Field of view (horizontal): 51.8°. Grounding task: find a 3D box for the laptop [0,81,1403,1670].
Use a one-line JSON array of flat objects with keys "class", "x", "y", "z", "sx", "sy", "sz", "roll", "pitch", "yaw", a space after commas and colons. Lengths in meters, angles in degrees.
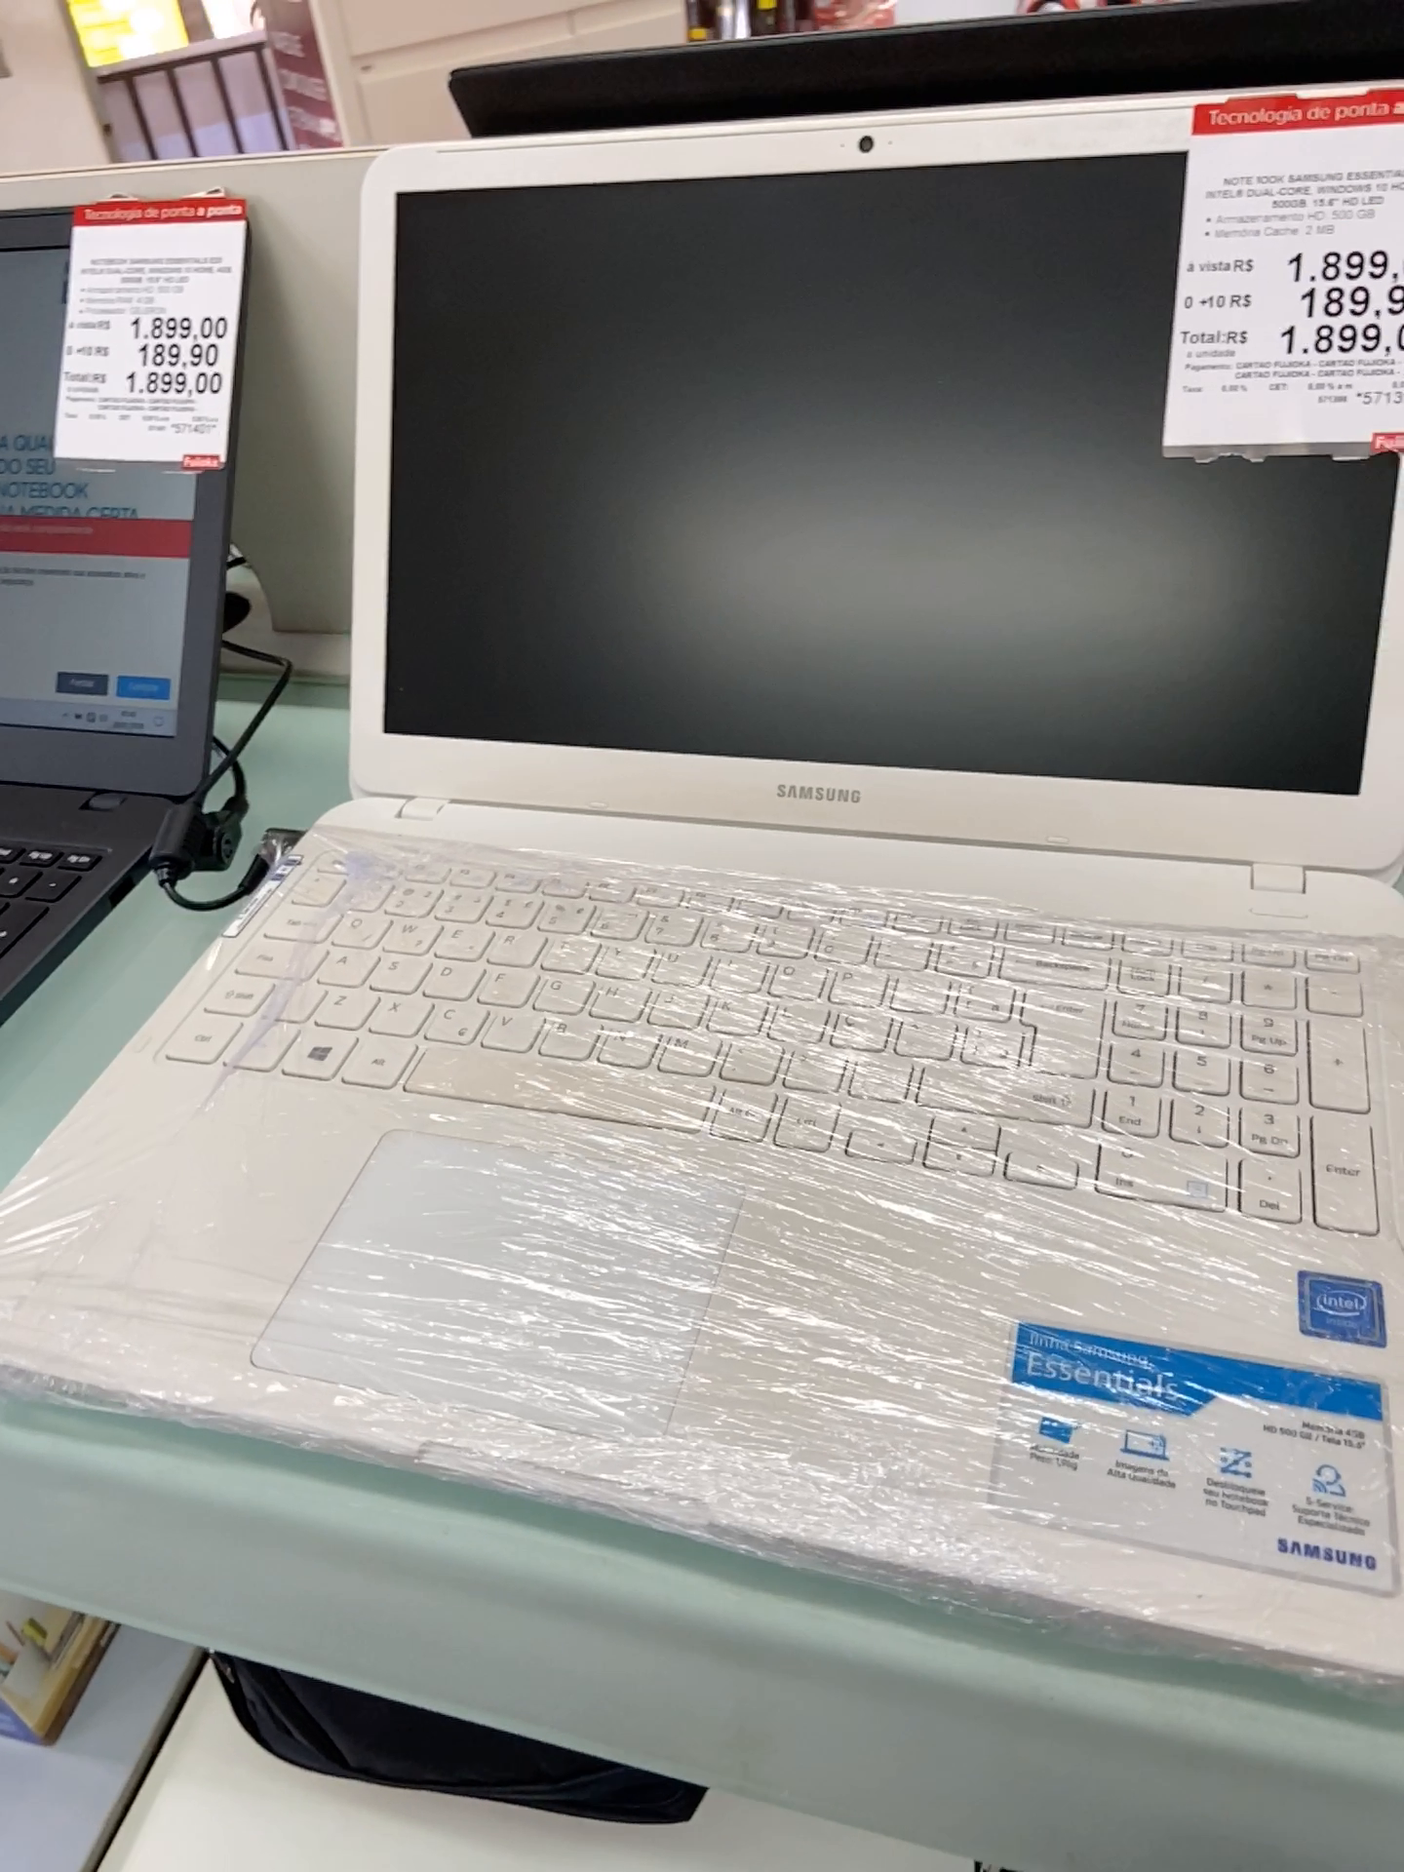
[{"class": "laptop", "x": 0.012, "y": -0.074, "z": 0.407, "sx": 0.375, "sy": 0.192, "sz": 0.383, "roll": 6, "pitch": 42, "yaw": 17}]
